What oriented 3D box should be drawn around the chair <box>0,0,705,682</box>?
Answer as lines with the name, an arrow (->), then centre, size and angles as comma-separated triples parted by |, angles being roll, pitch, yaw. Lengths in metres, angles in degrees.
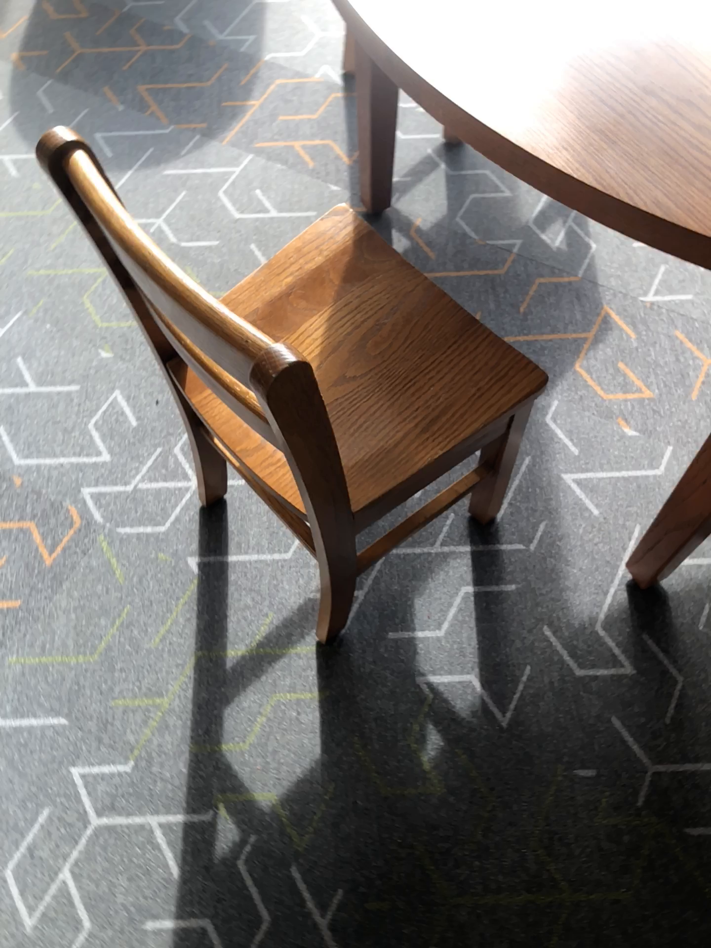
chair -> -0.010, -0.114, 0.860 | 0.390, 0.667, 0.371 | -40, 68, -16
